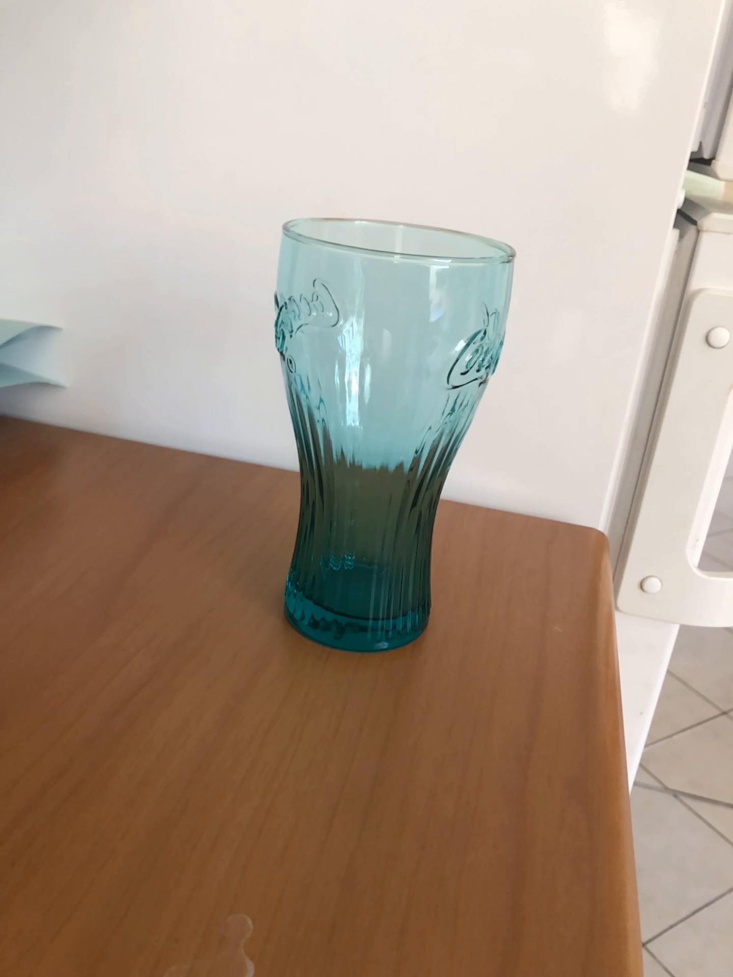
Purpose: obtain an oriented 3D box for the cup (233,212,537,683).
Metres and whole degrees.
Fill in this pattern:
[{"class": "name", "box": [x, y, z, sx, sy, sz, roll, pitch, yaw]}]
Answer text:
[{"class": "cup", "box": [0.005, -0.018, 0.291, 0.080, 0.139, 0.080, 6, 23, -2]}]
